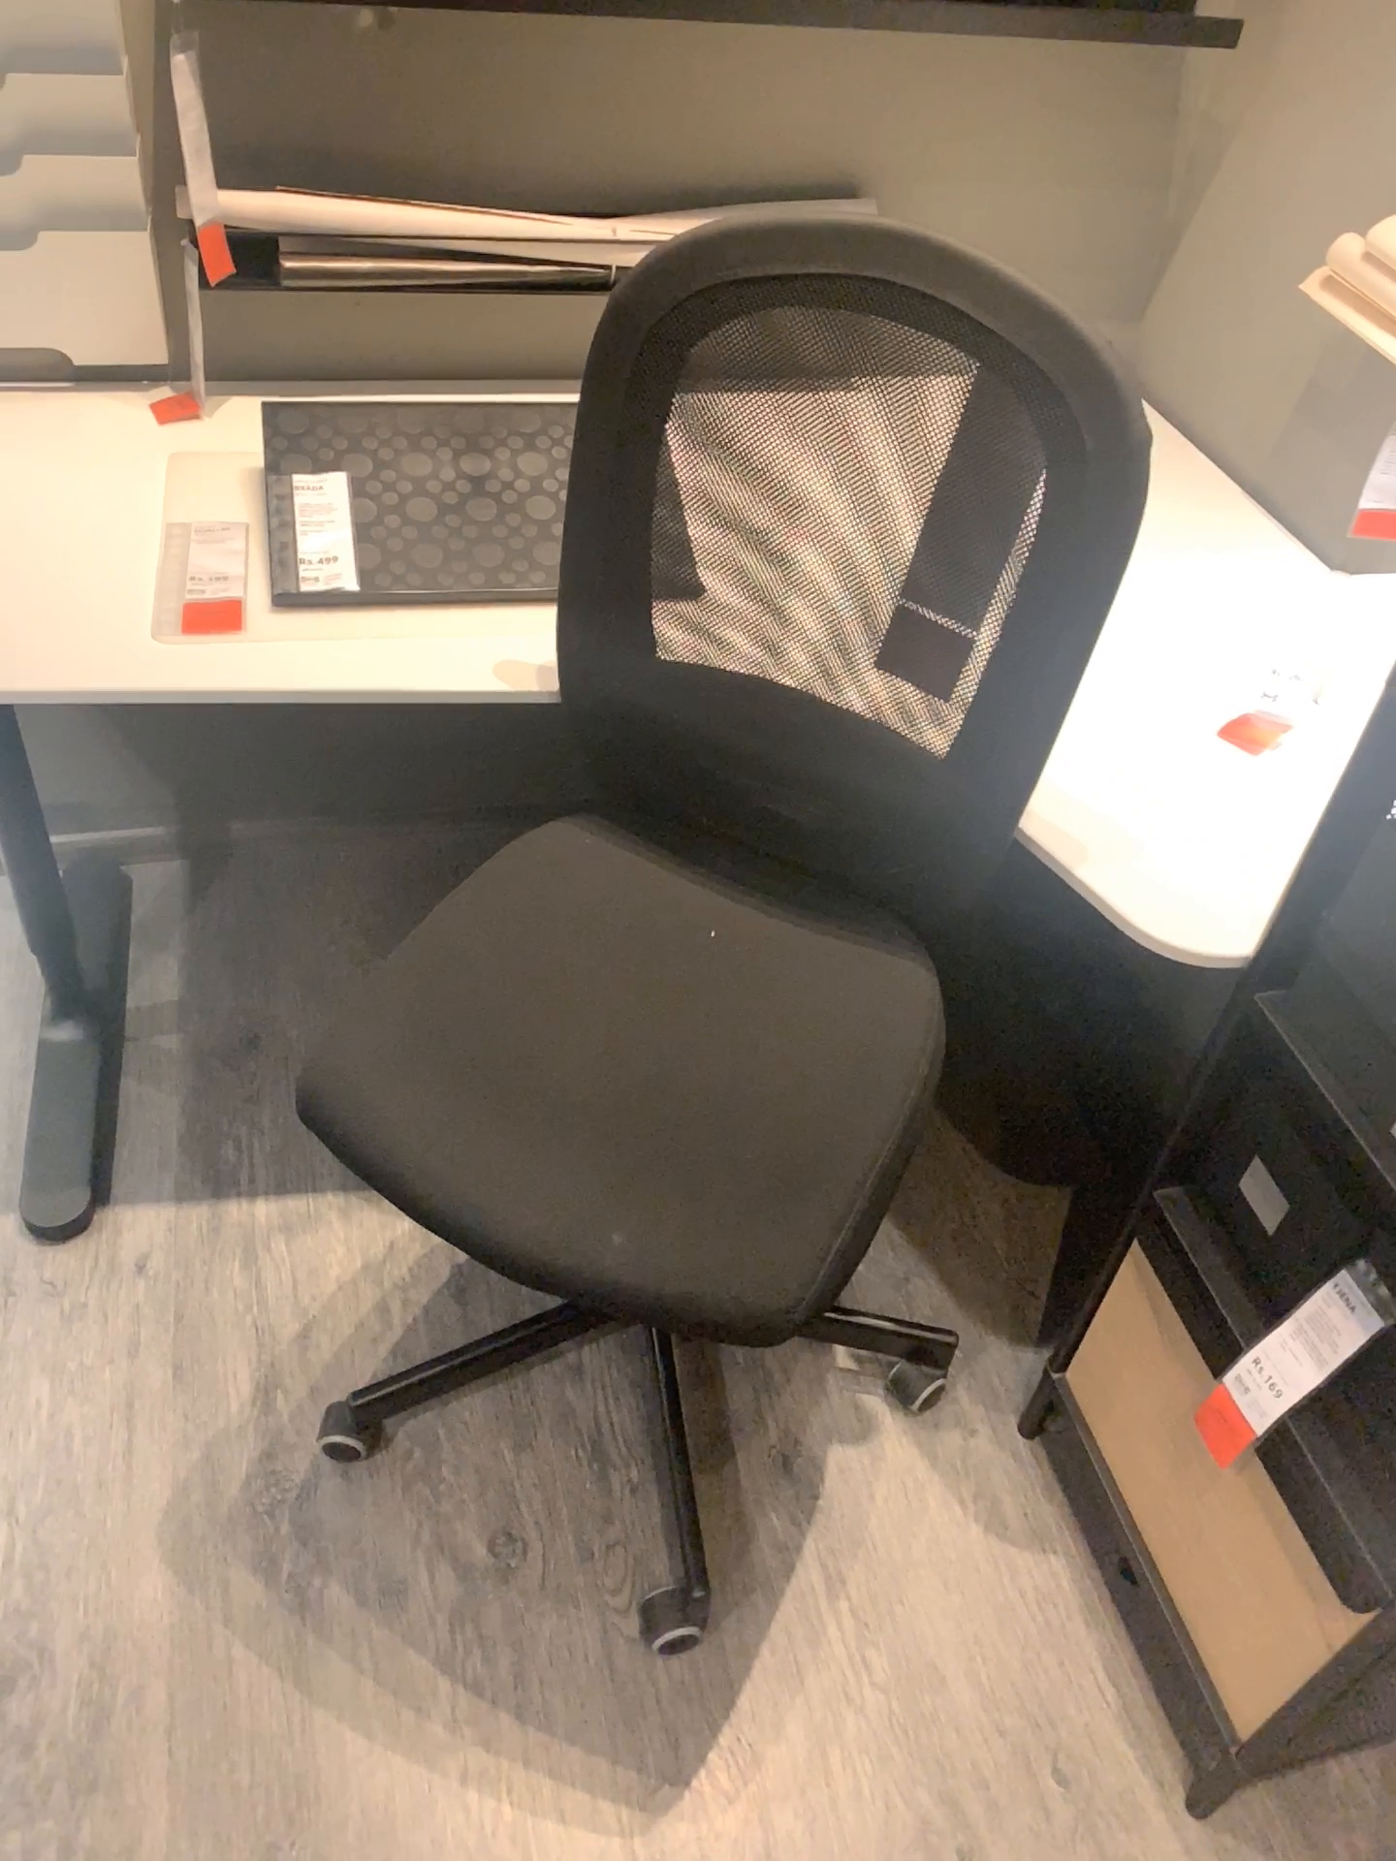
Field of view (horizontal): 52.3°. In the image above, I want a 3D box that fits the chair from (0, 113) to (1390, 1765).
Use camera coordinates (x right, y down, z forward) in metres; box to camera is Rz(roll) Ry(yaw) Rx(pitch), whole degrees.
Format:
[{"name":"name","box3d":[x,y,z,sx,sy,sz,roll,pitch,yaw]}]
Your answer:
[{"name":"chair","box3d":[-0.028,0.008,1.199,0.691,0.996,0.712,23,46,17]}]
